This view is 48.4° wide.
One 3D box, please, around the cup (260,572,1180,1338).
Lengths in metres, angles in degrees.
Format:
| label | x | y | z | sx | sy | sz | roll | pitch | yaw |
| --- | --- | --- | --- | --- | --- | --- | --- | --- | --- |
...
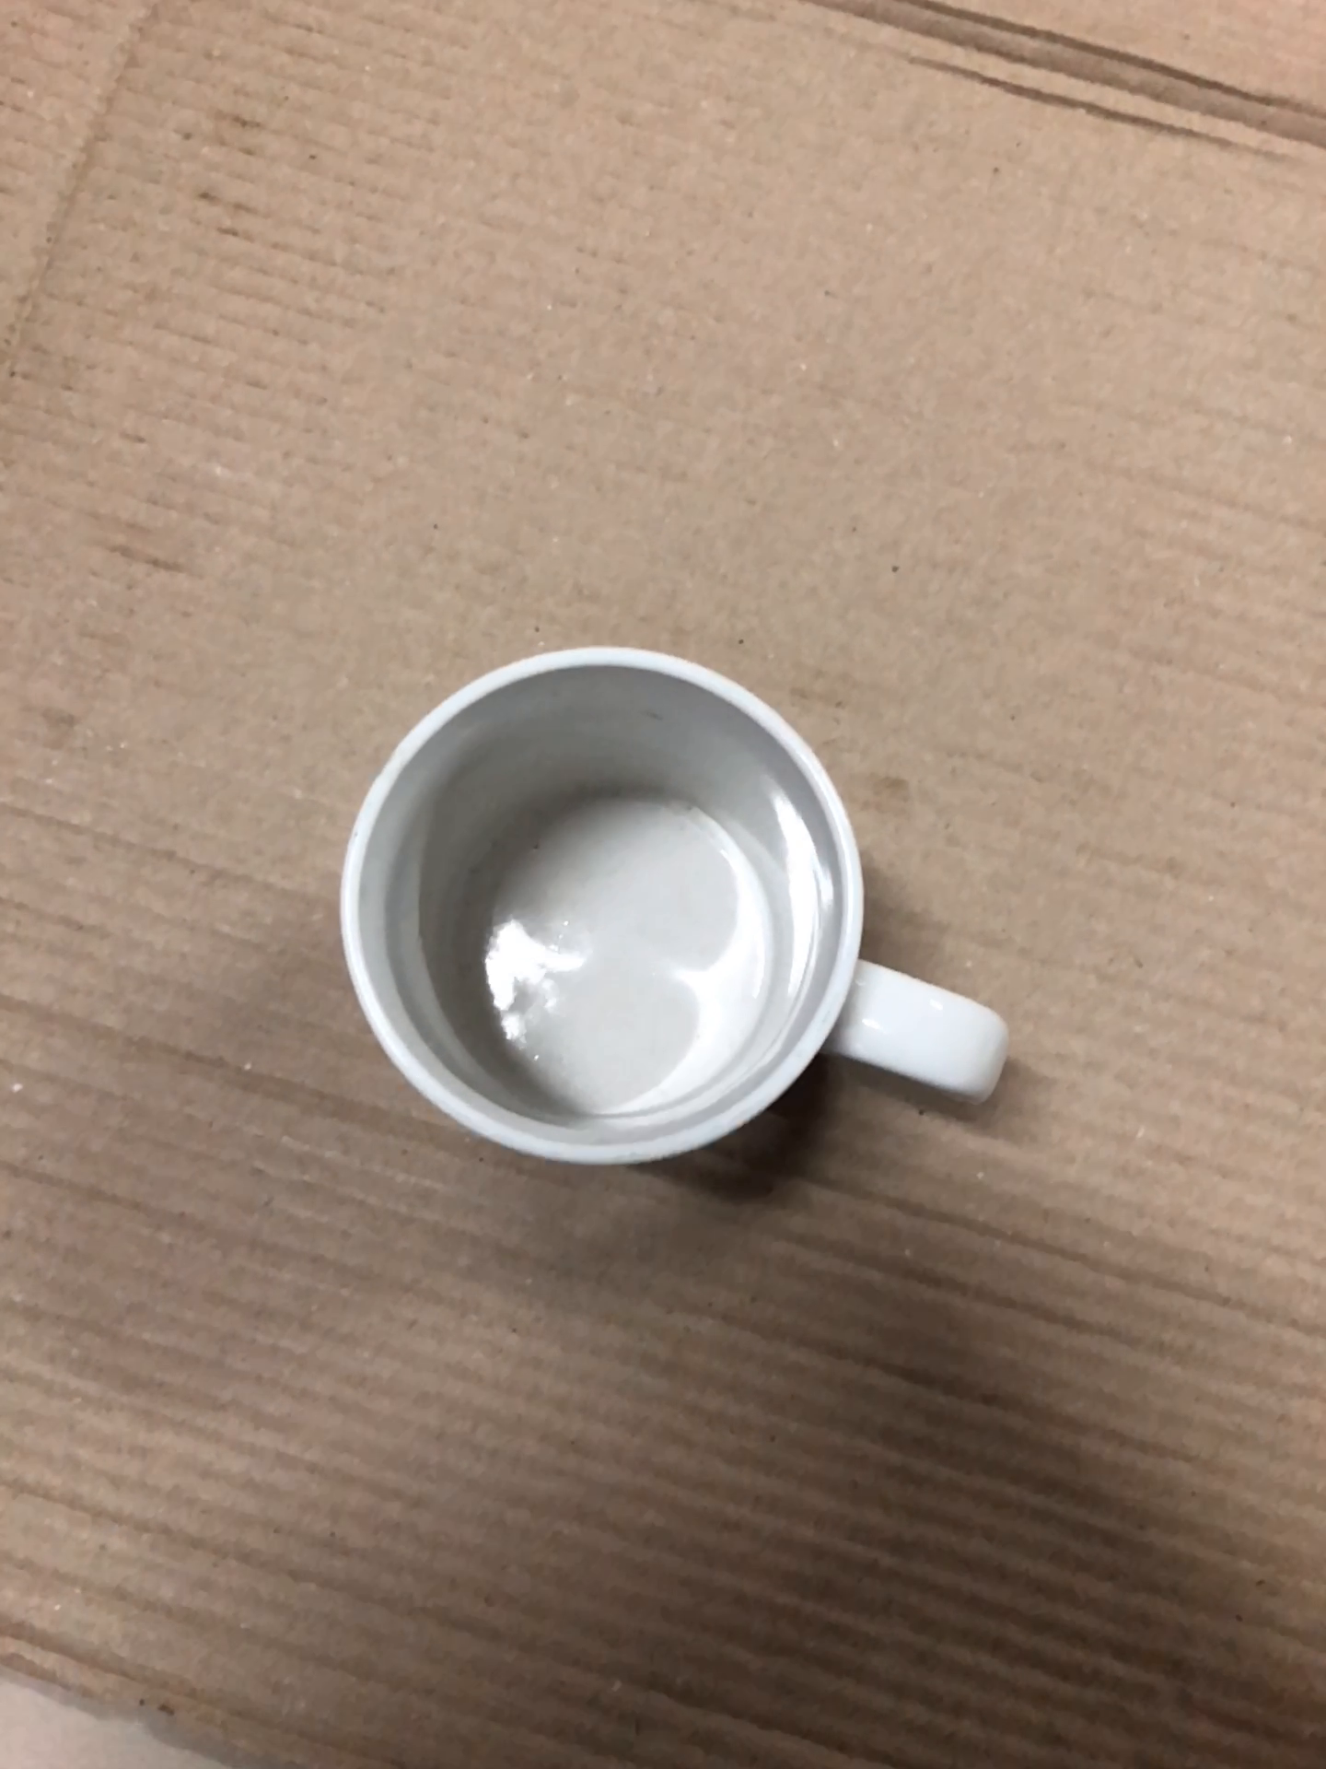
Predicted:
| label | x | y | z | sx | sy | sz | roll | pitch | yaw |
| --- | --- | --- | --- | --- | --- | --- | --- | --- | --- |
| cup | 0.009 | 0.016 | 0.243 | 0.110 | 0.080 | 0.080 | 16 | 77 | 2 |
